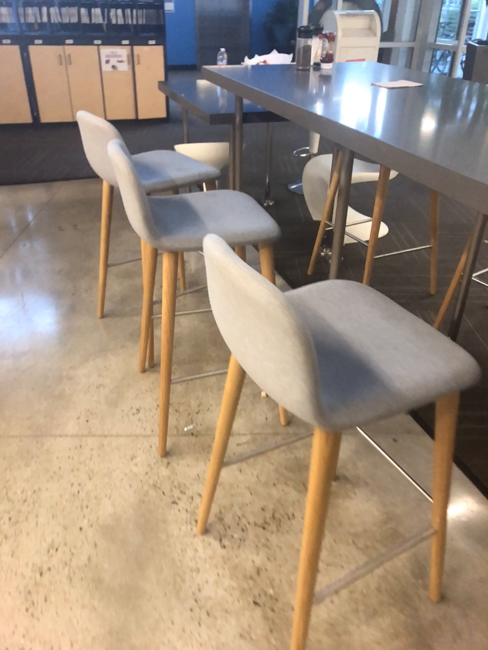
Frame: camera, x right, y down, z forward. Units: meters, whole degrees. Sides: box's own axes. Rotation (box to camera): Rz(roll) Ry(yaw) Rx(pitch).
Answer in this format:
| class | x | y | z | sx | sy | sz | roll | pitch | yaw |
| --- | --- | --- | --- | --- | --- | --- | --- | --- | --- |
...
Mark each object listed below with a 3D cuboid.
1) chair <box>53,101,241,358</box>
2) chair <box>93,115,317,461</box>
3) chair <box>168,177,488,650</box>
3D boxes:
| class | x | y | z | sx | sy | sz | roll | pitch | yaw |
| --- | --- | --- | --- | --- | --- | --- | --- | --- | --- |
| chair | -0.379 | -0.430 | 2.259 | 0.513 | 0.893 | 0.491 | -21 | 33 | -33 |
| chair | -0.136 | -0.151 | 1.815 | 0.542 | 0.982 | 0.502 | -11 | 28 | -19 |
| chair | 0.210 | 0.256 | 1.206 | 0.543 | 0.982 | 0.502 | -17 | 35 | -28 |
